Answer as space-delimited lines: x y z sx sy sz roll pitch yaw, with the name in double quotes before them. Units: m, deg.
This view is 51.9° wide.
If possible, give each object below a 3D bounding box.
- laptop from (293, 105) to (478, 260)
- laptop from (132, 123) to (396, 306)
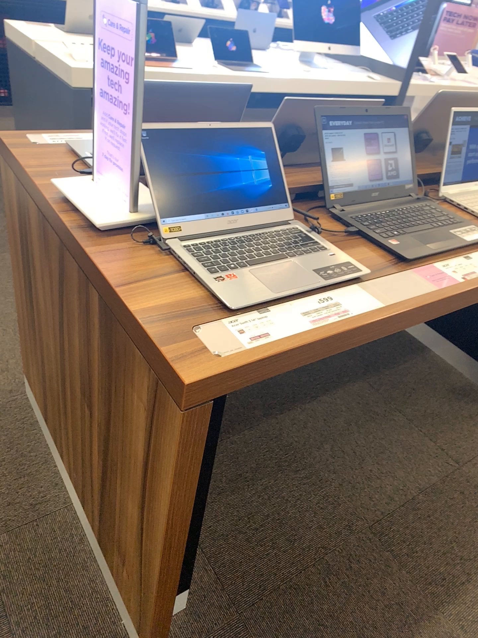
"laptop" 0.399 -0.337 1.142 0.372 0.191 0.357 -17 45 -36
"laptop" 0.028 -0.218 0.892 0.308 0.153 0.360 -15 44 -33
